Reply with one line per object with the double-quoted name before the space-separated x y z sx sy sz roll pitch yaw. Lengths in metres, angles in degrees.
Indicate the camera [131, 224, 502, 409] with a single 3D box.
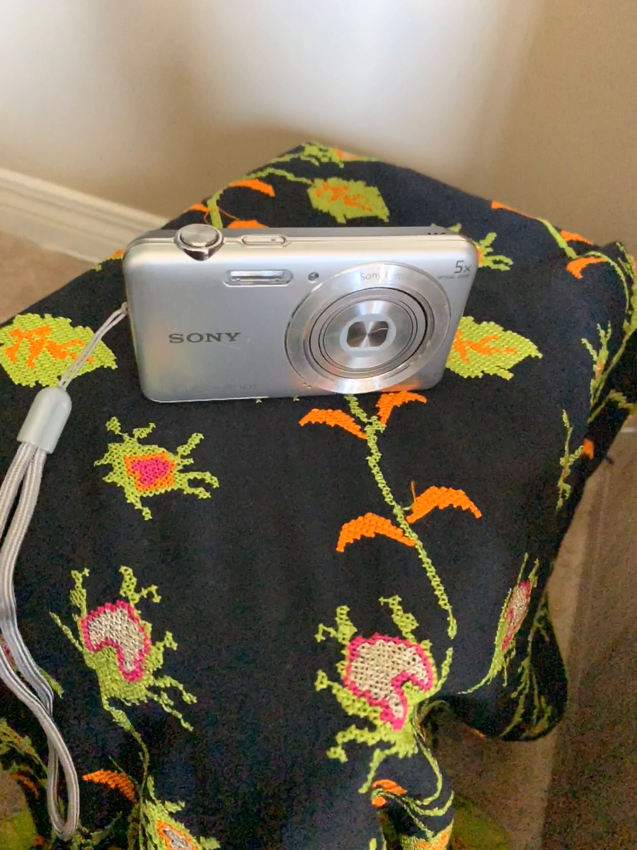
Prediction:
"camera" -0.002 -0.028 0.174 0.086 0.042 0.020 -3 47 -10
